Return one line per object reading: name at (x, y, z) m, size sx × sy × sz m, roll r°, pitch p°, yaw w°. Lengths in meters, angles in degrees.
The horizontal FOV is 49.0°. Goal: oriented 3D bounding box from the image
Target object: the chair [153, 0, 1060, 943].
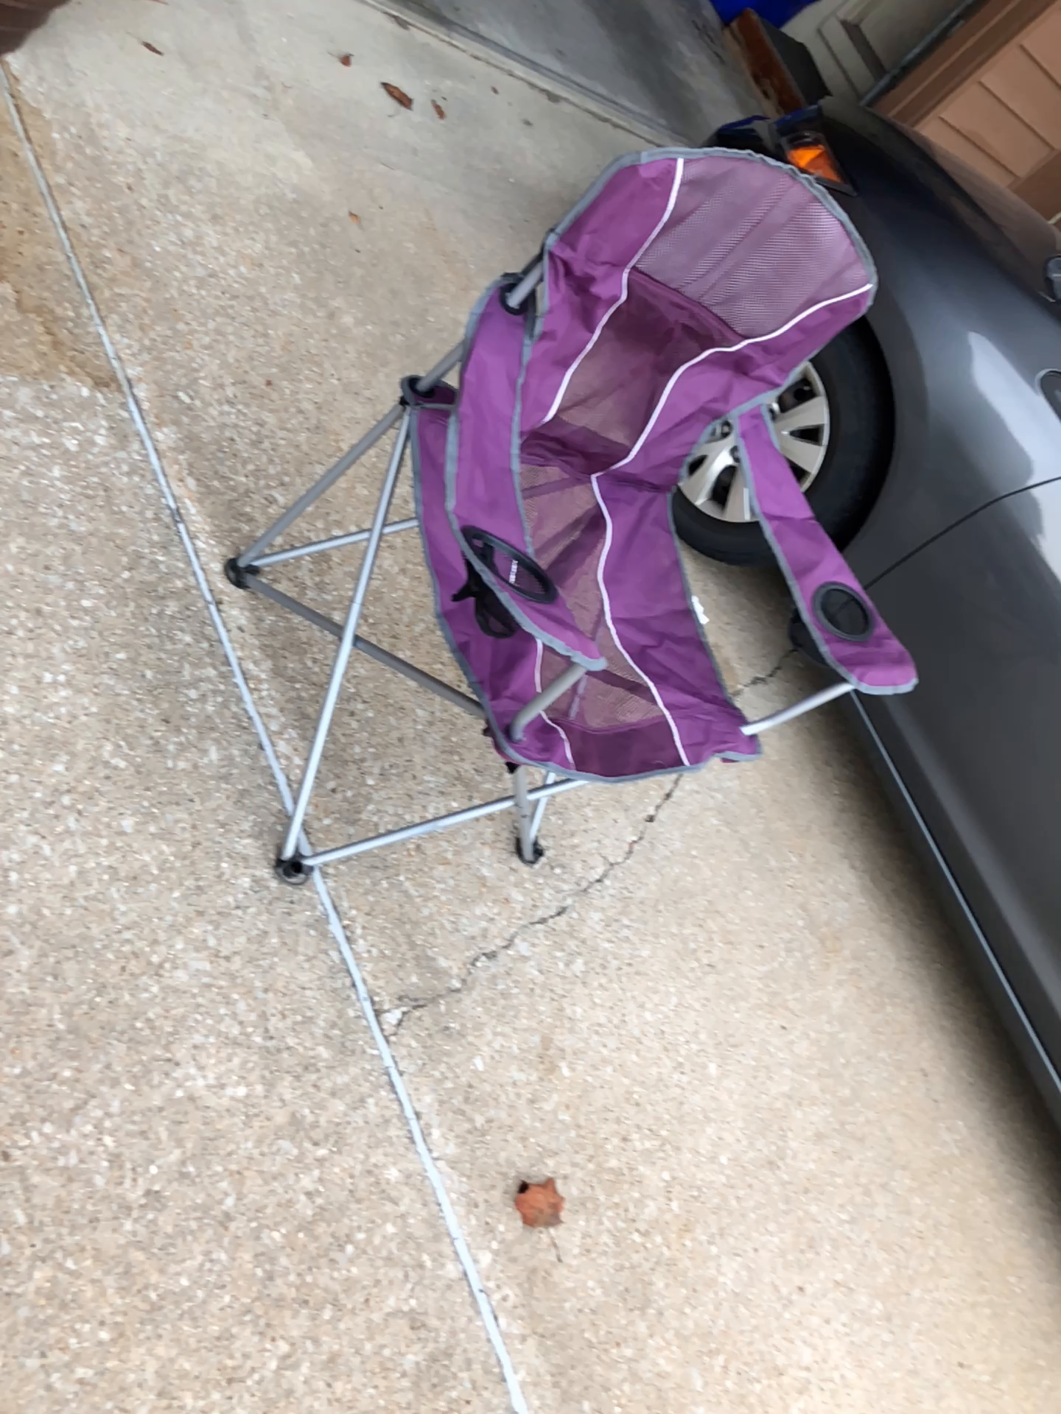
chair at (0.112, -0.210, 1.568) m, size 0.764 × 0.876 × 0.709 m, roll 4°, pitch 60°, yaw -46°
